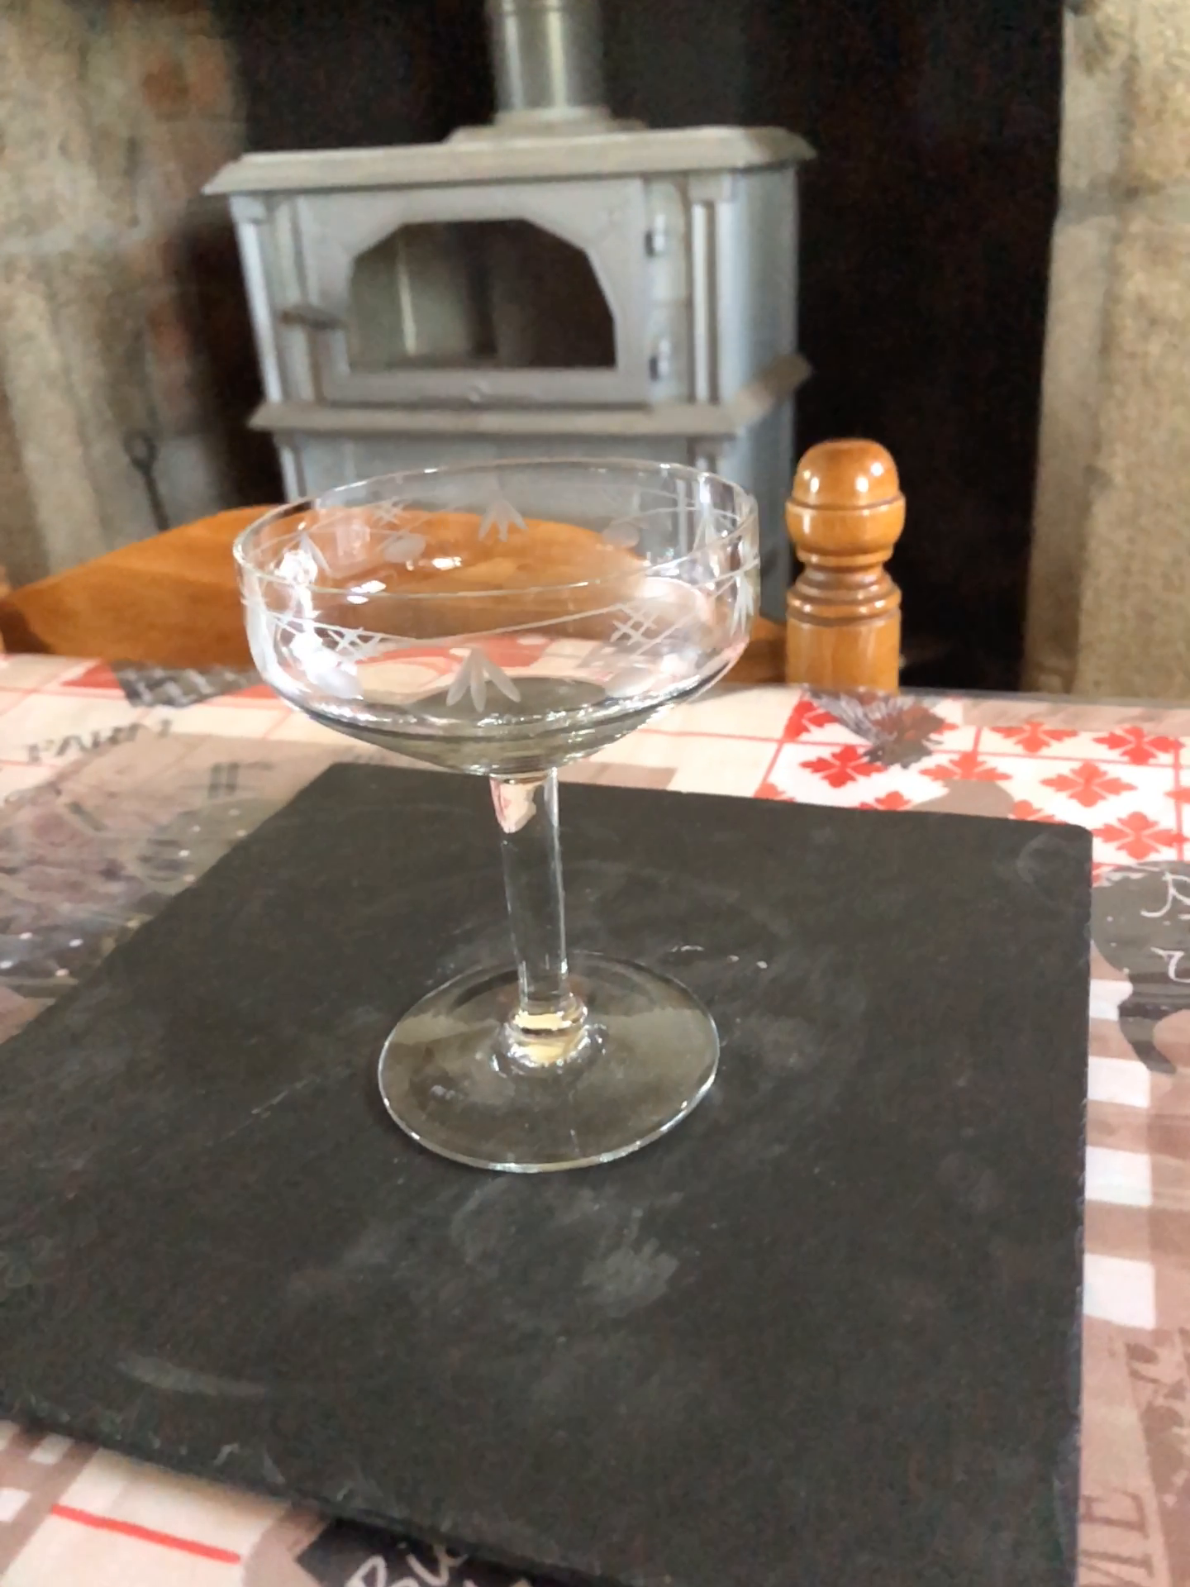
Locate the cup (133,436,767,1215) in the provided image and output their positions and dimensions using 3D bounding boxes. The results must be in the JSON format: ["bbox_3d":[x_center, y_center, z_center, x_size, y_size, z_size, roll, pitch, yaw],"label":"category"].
[{"bbox_3d":[-0.015,0.001,0.259,0.090,0.119,0.091,-3,25,2],"label":"cup"}]
